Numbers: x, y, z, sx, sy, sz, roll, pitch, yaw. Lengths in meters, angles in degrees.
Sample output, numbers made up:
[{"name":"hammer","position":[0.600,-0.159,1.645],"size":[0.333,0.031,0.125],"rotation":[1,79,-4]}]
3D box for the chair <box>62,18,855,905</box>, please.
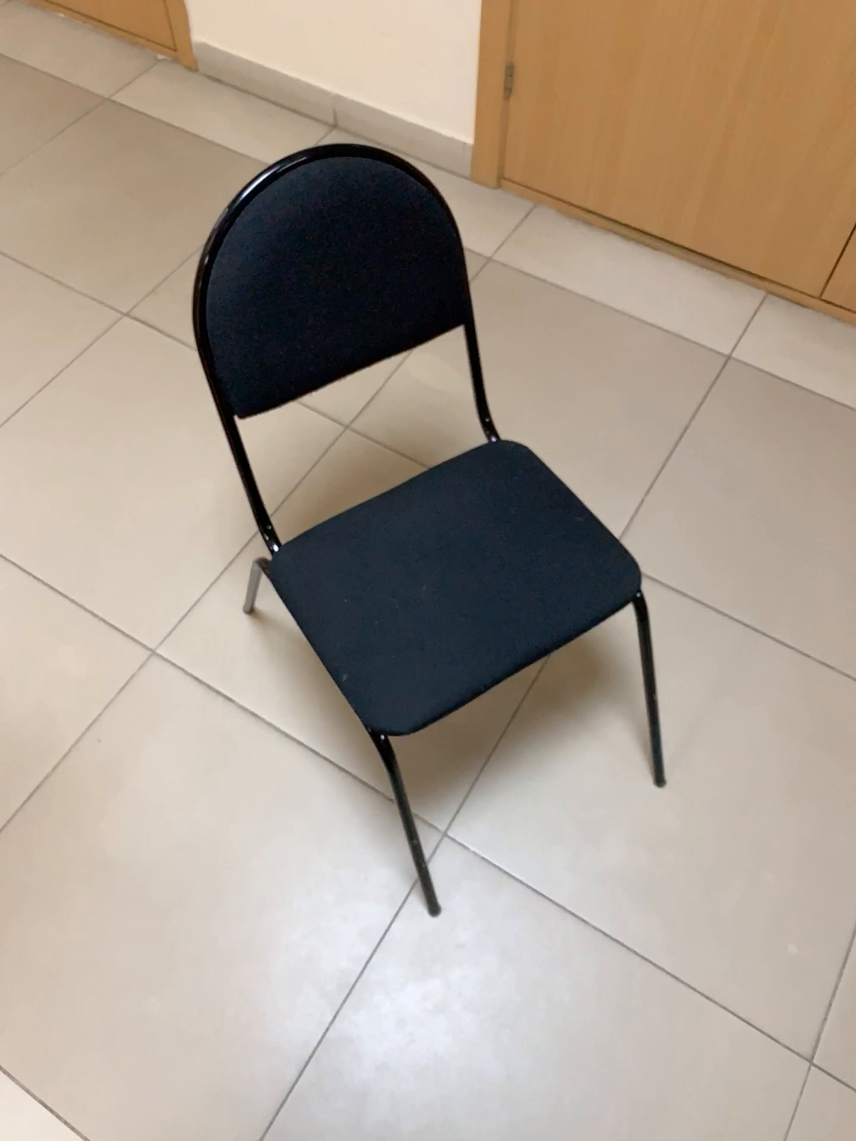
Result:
[{"name":"chair","position":[0.017,-0.079,1.134],"size":[0.481,0.775,0.693],"rotation":[-29,65,-16]}]
